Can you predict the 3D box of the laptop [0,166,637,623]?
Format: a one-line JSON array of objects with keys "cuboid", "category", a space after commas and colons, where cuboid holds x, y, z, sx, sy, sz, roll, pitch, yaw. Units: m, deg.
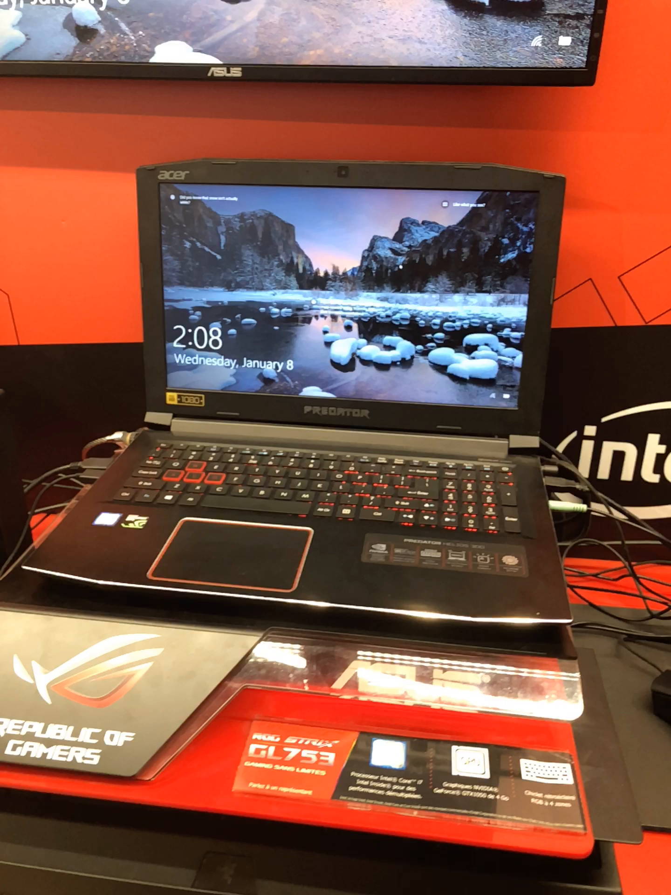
[{"cuboid": [-0.012, -0.075, 0.589, 0.385, 0.240, 0.295, 4, 26, 8], "category": "laptop"}]
